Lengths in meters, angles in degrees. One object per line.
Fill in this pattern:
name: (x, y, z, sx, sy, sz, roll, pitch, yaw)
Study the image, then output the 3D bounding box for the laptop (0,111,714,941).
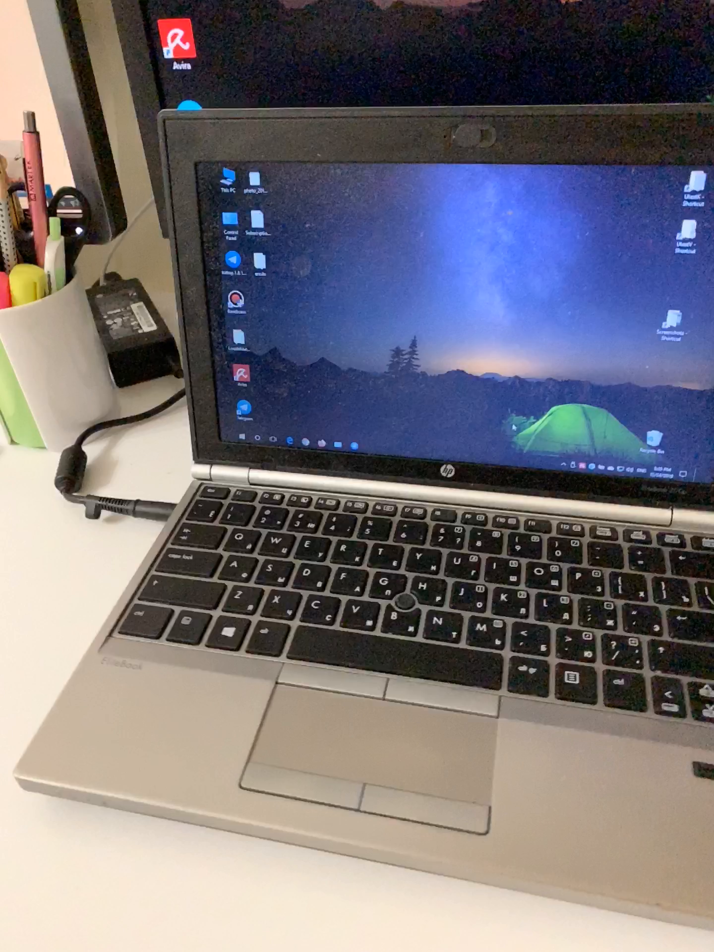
laptop: (0.027, -0.015, 0.279, 0.284, 0.176, 0.227, 5, 39, 12)
